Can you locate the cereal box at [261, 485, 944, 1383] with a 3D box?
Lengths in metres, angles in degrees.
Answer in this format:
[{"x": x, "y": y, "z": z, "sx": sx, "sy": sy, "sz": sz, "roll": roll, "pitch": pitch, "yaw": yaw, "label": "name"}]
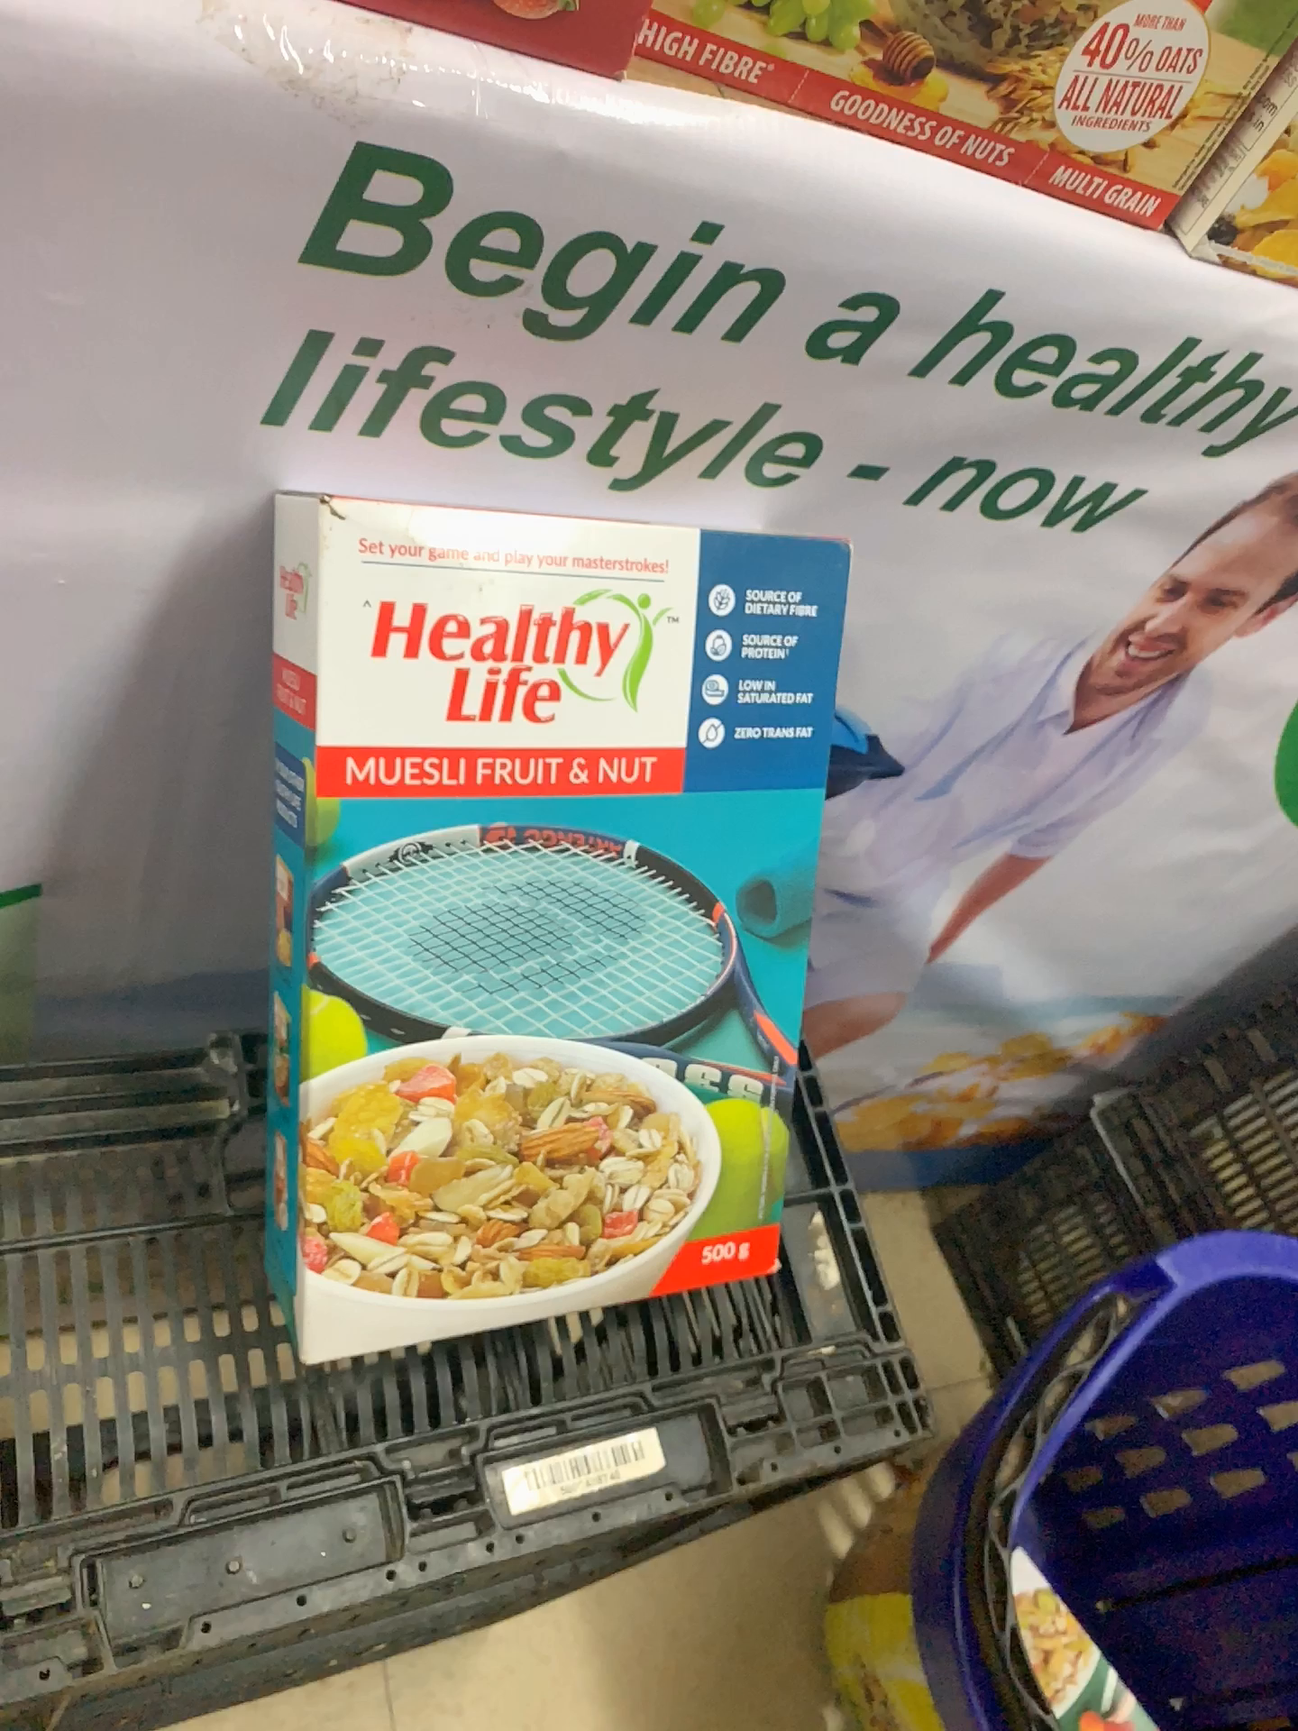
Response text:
[{"x": -0.020, "y": 0.016, "z": 0.429, "sx": 0.190, "sy": 0.250, "sz": 0.070, "roll": -3, "pitch": 16, "yaw": -26, "label": "cereal box"}]
